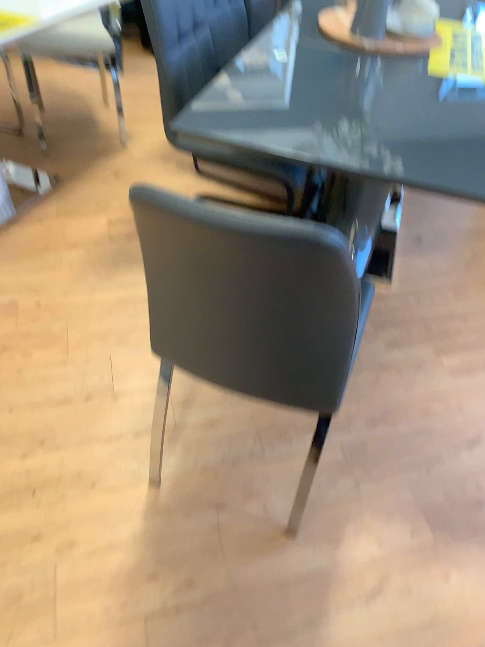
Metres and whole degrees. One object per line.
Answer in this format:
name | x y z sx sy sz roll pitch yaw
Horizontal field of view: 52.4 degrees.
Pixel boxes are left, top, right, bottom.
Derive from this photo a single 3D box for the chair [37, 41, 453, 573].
chair | 0.047 -0.008 1.101 0.480 0.892 0.645 17 46 11
